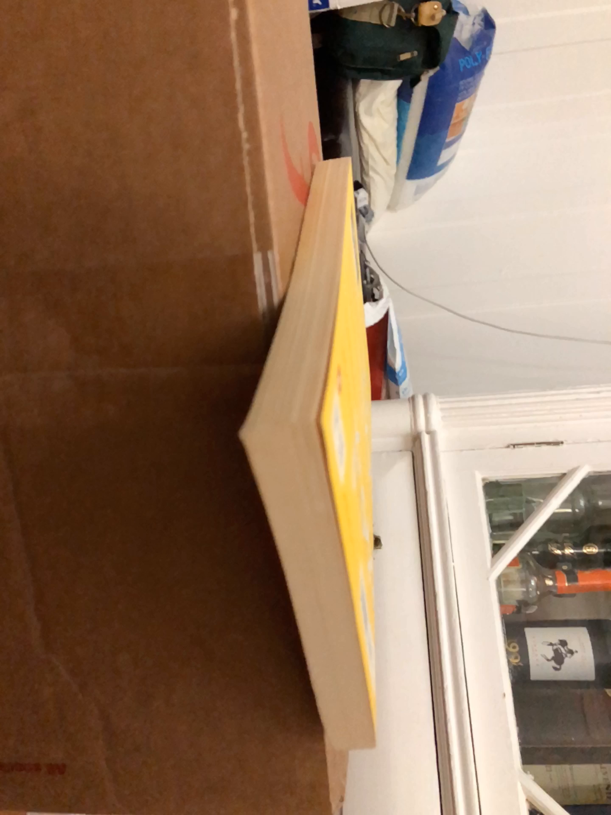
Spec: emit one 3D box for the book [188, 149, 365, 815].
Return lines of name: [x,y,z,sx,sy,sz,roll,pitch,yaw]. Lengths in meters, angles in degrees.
book: [0.006,0.008,0.258,0.211,0.020,0.150,-82,166,-54]
